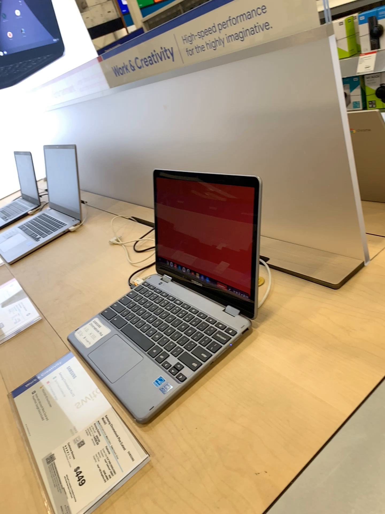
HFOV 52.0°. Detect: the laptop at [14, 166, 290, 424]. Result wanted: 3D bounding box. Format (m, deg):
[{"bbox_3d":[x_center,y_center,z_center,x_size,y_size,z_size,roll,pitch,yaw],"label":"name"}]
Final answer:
[{"bbox_3d":[-0.068,0.018,0.600,0.288,0.181,0.275,-36,29,-22],"label":"laptop"}]
